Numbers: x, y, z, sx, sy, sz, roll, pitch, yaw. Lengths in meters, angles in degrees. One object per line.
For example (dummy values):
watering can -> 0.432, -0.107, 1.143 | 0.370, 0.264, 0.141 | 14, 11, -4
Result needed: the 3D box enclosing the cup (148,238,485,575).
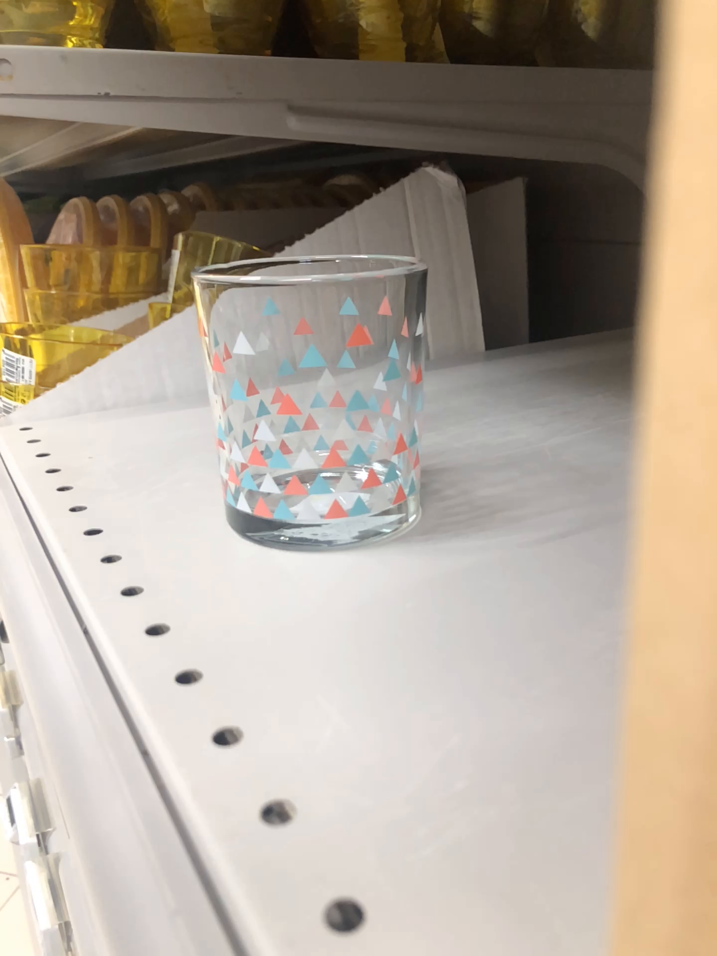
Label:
cup -> -0.014, -0.030, 0.250 | 0.077, 0.081, 0.076 | -2, 19, 1
